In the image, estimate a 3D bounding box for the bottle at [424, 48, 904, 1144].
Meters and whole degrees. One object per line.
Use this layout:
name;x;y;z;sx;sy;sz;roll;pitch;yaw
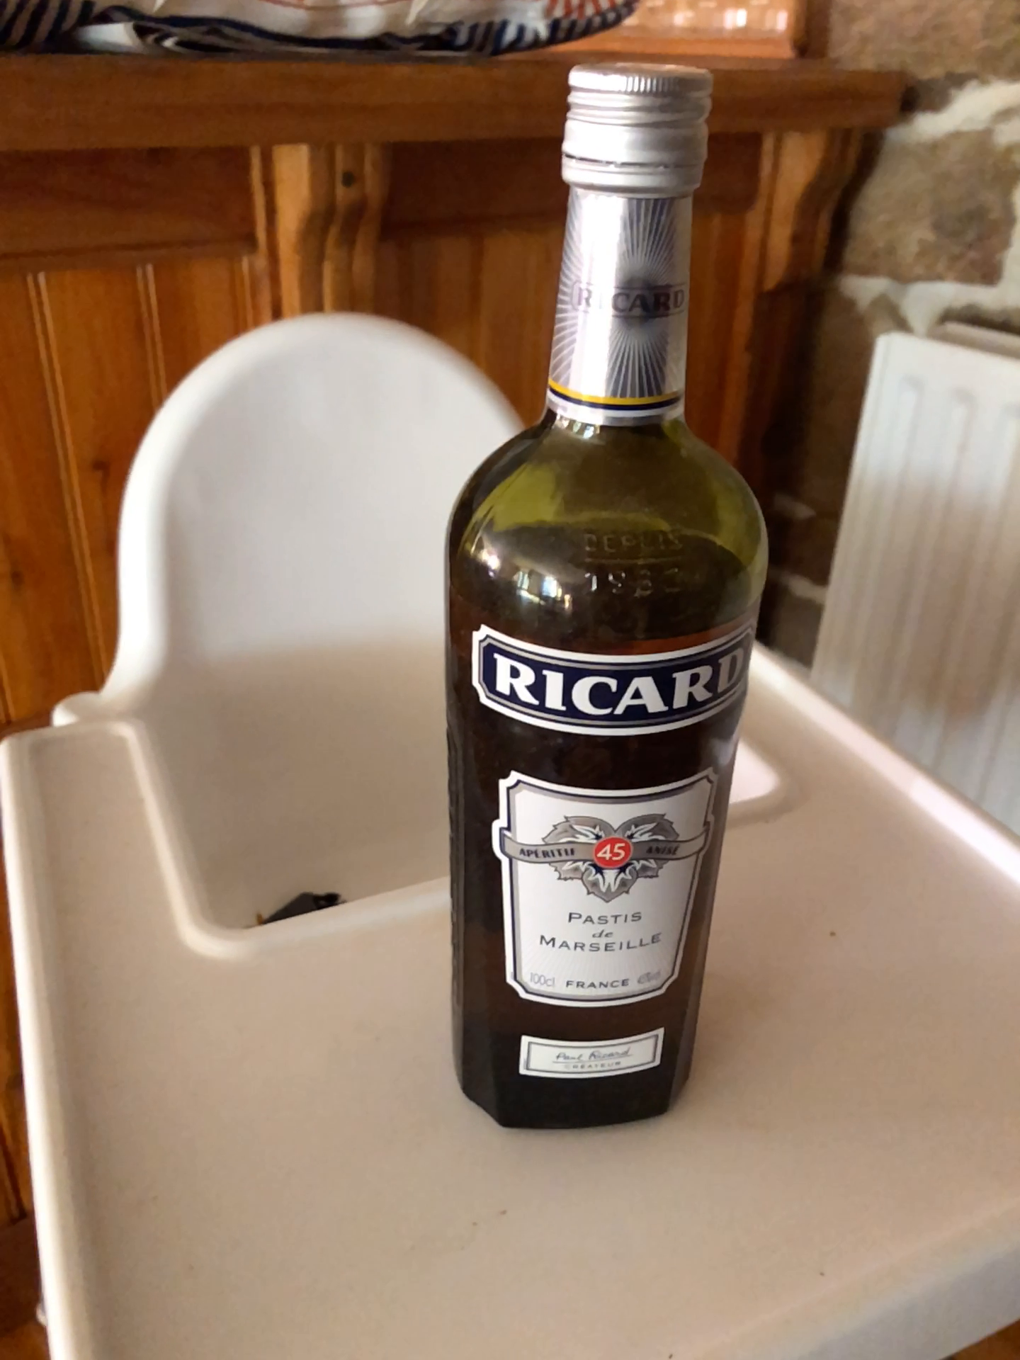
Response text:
bottle;0.024;-0.004;0.316;0.090;0.298;0.070;-2;29;-6
